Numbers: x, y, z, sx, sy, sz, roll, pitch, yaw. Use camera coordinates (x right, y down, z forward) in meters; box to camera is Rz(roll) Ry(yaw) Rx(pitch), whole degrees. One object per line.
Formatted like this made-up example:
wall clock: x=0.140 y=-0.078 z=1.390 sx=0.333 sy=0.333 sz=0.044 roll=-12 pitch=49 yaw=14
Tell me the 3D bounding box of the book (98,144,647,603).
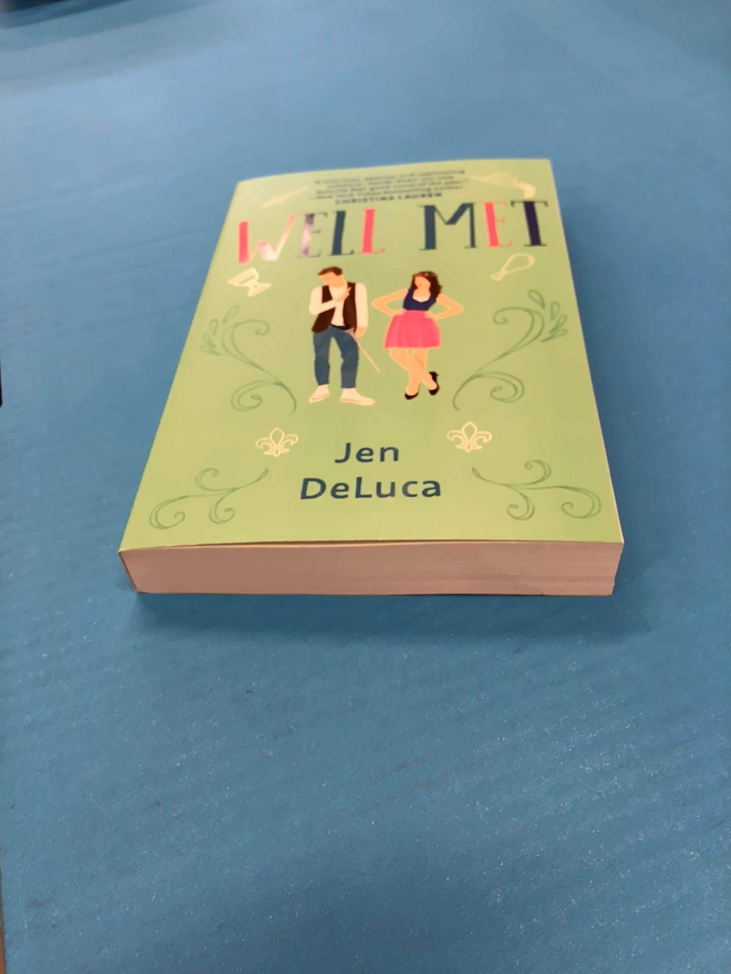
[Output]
book: x=0.007 y=-0.057 z=0.301 sx=0.146 sy=0.030 sz=0.216 roll=-1 pitch=48 yaw=6
